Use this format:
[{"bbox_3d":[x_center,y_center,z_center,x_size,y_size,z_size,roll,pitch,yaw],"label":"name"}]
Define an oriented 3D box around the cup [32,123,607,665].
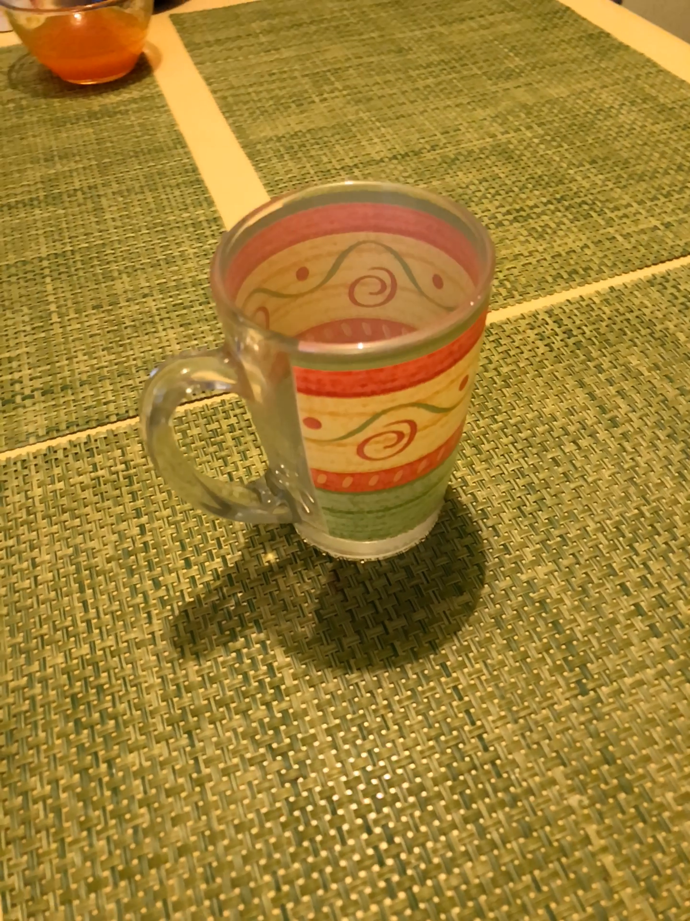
[{"bbox_3d":[-0.007,-0.025,0.231,0.120,0.089,0.090,-27,53,-20],"label":"cup"}]
